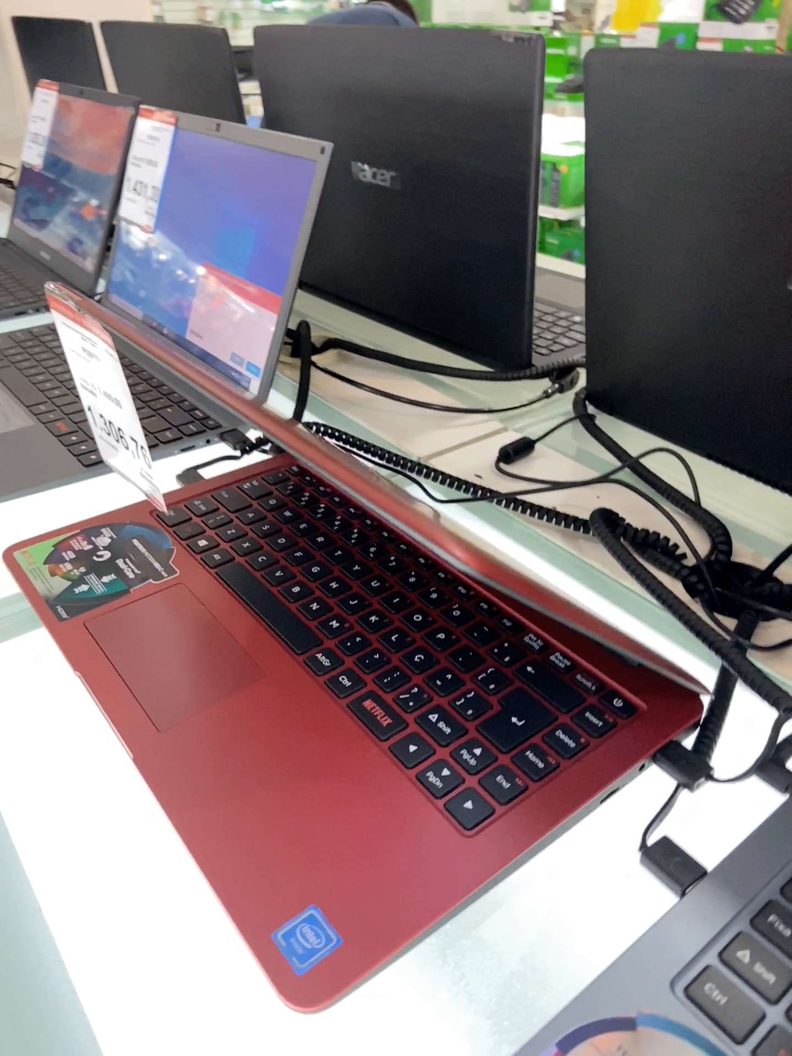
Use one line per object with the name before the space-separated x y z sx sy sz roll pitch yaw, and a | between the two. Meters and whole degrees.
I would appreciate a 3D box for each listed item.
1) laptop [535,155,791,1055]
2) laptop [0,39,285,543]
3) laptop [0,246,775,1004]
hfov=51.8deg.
laptop | 0.244 0.118 0.113 0.277 0.207 0.386 -27 43 -32
laptop | -0.248 -0.209 0.602 0.235 0.159 0.287 35 47 27
laptop | -0.041 -0.014 0.385 0.212 0.144 0.321 -22 38 -31
